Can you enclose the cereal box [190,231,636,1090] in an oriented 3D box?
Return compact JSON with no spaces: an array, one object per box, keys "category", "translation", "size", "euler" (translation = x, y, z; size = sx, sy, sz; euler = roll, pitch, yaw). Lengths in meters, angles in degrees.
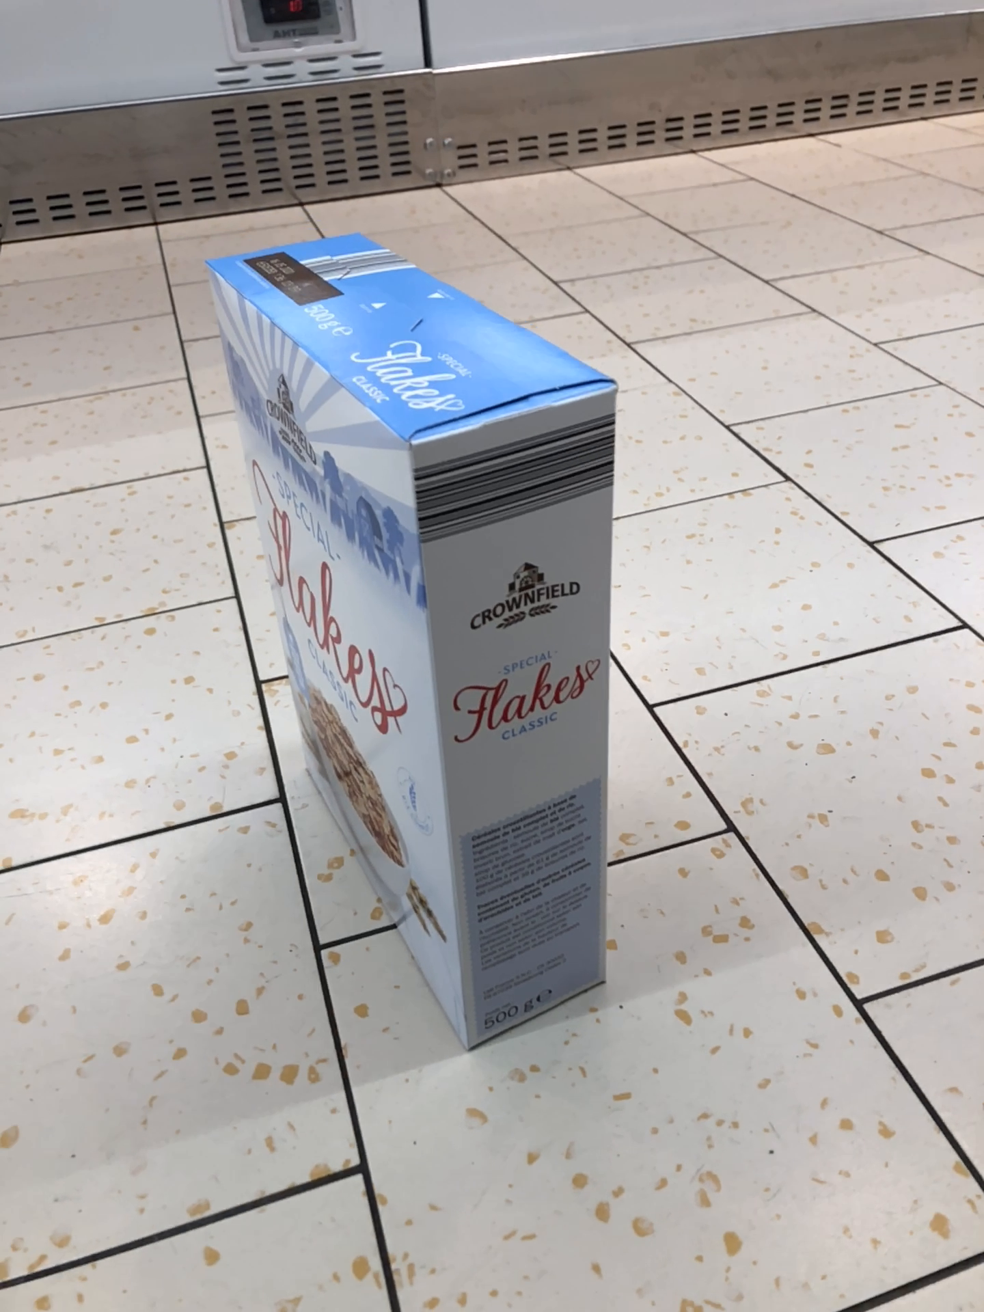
[{"category":"cereal box","translation":[-0.031,-0.002,0.427],"size":[0.070,0.268,0.201],"euler":[-19,37,-21]}]
